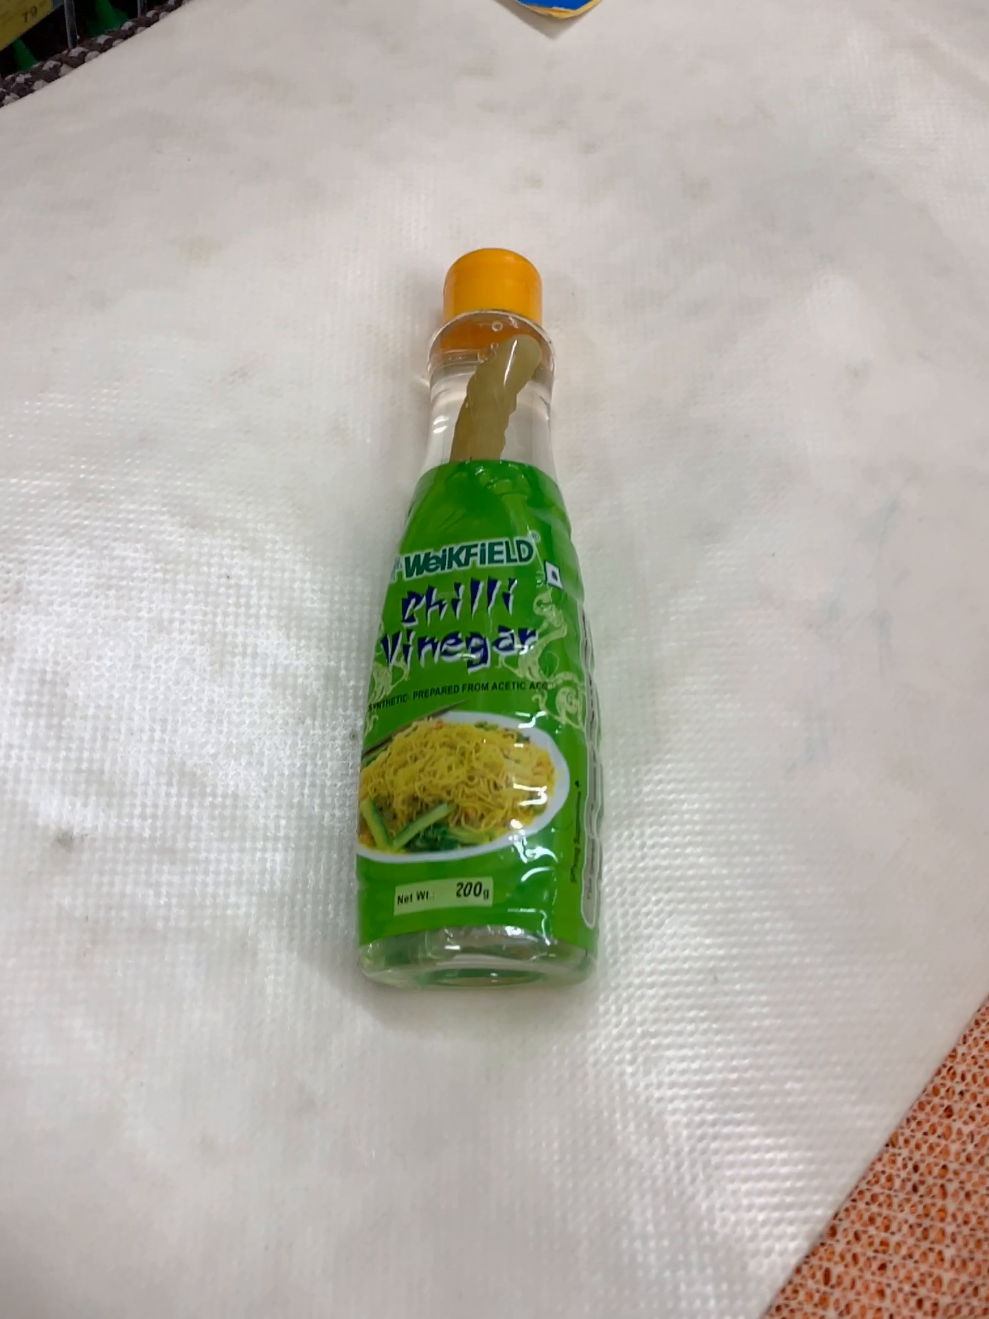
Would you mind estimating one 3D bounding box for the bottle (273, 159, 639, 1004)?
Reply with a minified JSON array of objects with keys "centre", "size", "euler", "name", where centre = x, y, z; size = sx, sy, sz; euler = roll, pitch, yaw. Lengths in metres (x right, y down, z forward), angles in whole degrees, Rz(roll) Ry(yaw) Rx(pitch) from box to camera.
[{"centre":[-0.003,-0.020,0.226],"size":[0.060,0.040,0.180],"euler":[-4,68,15],"name":"bottle"}]
